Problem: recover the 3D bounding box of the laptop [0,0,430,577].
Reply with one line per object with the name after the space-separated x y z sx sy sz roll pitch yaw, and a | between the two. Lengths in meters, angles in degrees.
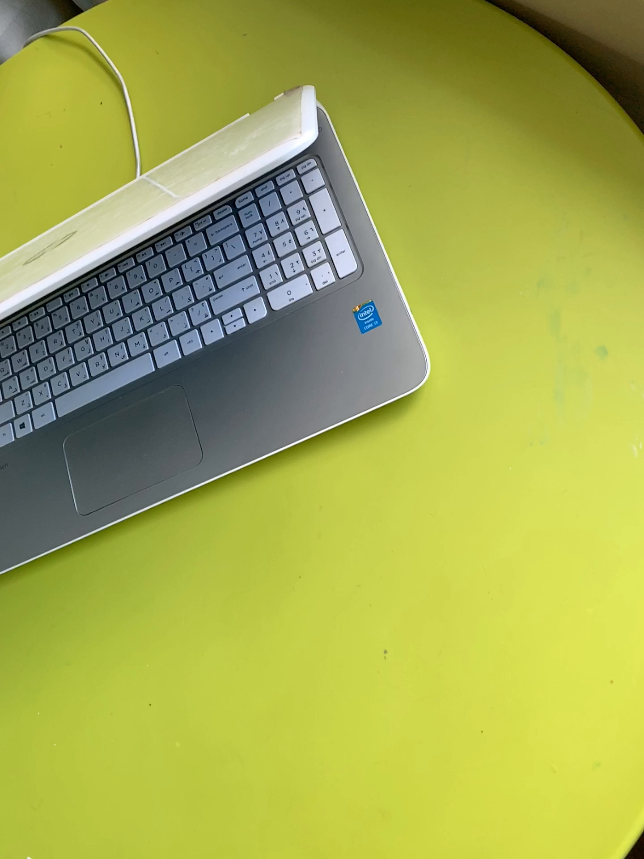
-0.161 -0.088 0.420 0.367 0.163 0.243 -24 70 13 | laptop
